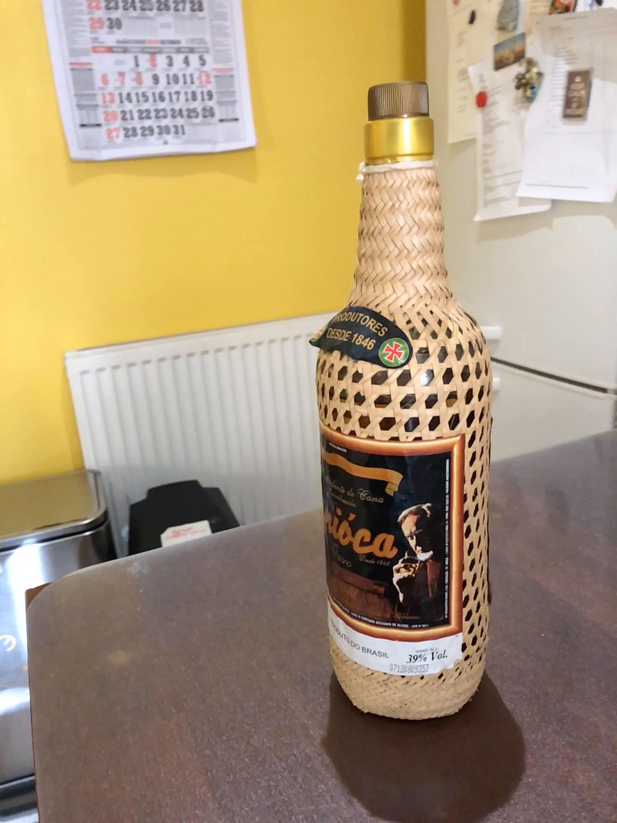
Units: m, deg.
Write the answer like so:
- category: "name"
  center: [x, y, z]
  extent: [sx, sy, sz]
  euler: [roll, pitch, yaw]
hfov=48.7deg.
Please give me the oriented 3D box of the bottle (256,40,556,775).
- category: "bottle"
  center: [0.054, 0.003, 0.356]
  extent: [0.090, 0.328, 0.100]
  euler: [-18, 22, -38]
